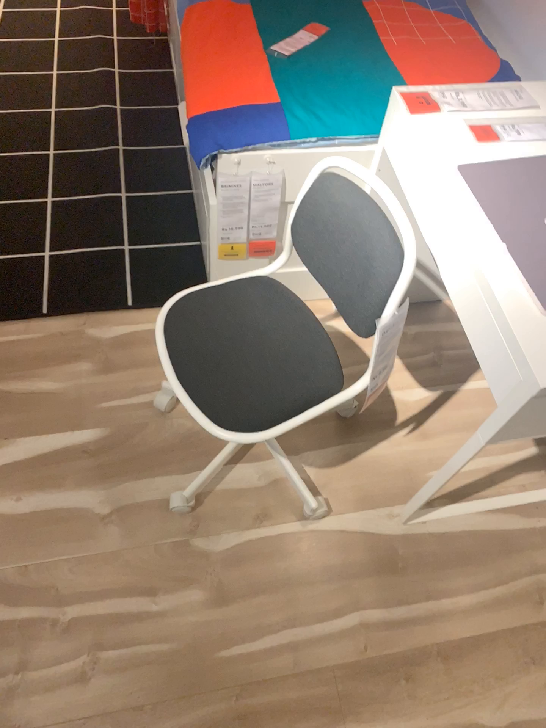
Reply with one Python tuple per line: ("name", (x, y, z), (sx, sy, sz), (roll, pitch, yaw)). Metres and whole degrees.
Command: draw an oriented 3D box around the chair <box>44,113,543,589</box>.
("chair", (0.003, -0.002, 1.188), (0.620, 0.658, 0.551), (-26, 64, -20))
